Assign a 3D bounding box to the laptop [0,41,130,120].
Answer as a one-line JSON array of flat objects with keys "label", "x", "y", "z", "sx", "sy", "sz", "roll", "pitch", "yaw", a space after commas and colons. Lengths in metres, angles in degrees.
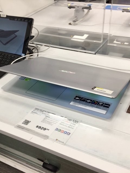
[{"label": "laptop", "x": 0.004, "y": -0.047, "z": 0.573, "sx": 0.385, "sy": 0.084, "sz": 0.219, "roll": 16, "pitch": 47, "yaw": 25}]
